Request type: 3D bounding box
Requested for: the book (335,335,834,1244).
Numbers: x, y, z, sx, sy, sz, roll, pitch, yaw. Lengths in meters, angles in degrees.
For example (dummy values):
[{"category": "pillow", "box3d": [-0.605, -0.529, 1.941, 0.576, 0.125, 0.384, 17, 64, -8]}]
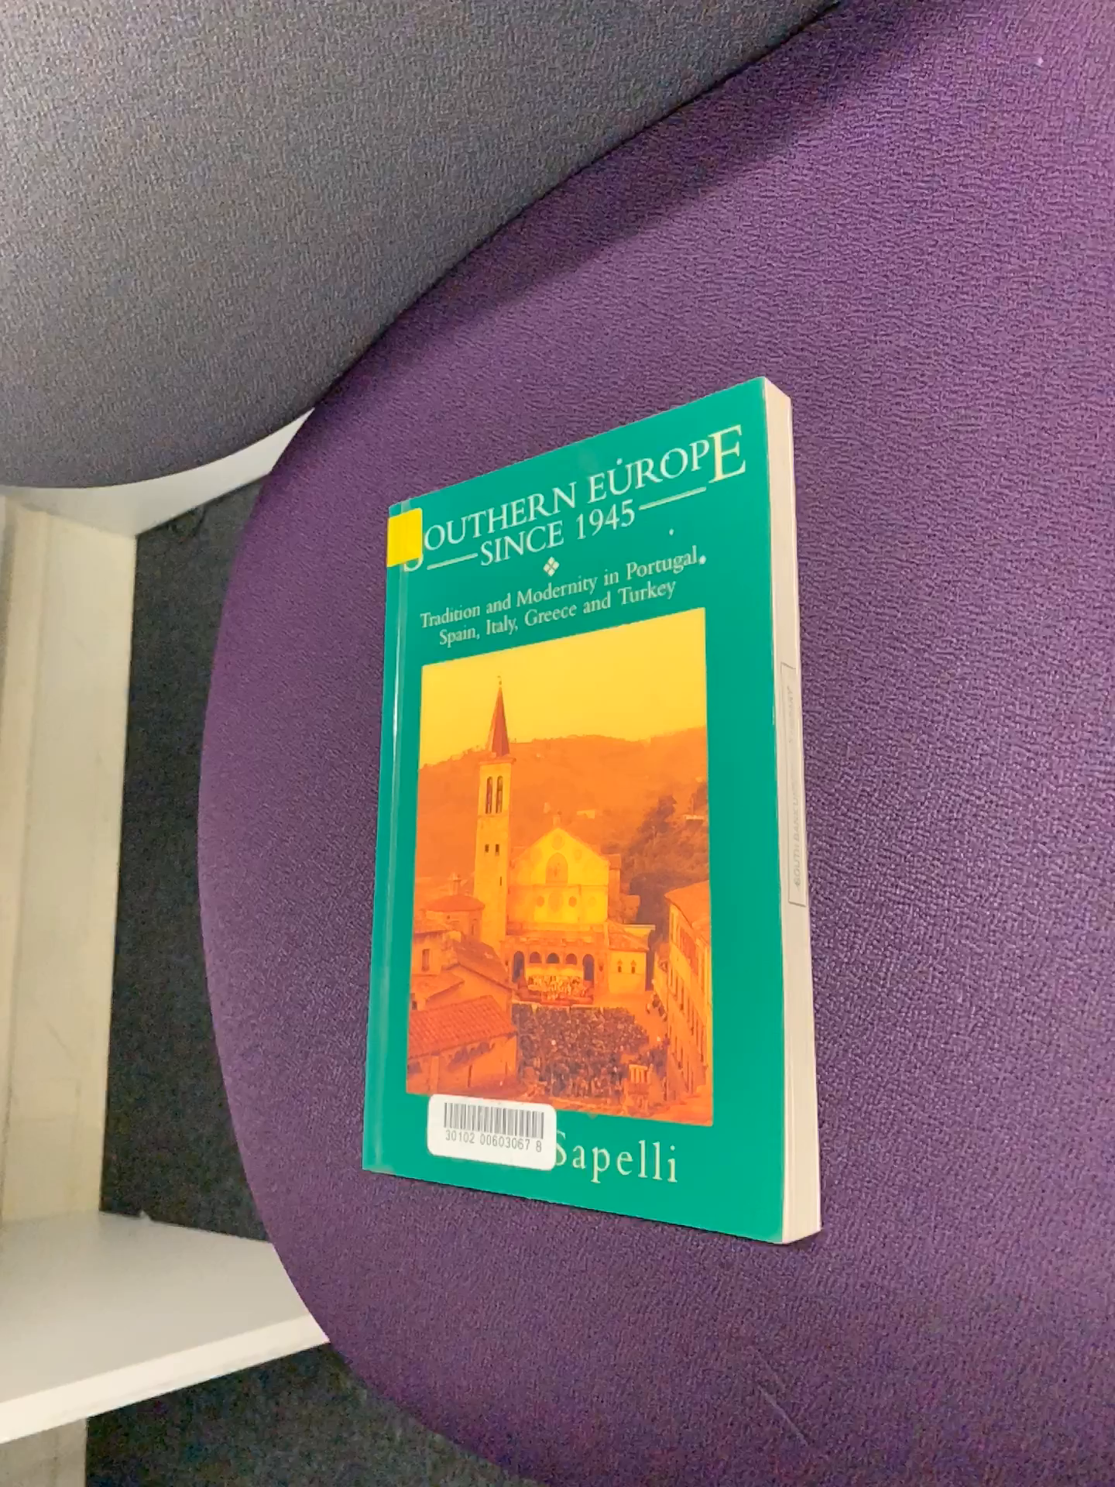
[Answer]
[{"category": "book", "box3d": [-0.001, 0.013, 0.331, 0.154, 0.020, 0.221, -8, 76, 38]}]
